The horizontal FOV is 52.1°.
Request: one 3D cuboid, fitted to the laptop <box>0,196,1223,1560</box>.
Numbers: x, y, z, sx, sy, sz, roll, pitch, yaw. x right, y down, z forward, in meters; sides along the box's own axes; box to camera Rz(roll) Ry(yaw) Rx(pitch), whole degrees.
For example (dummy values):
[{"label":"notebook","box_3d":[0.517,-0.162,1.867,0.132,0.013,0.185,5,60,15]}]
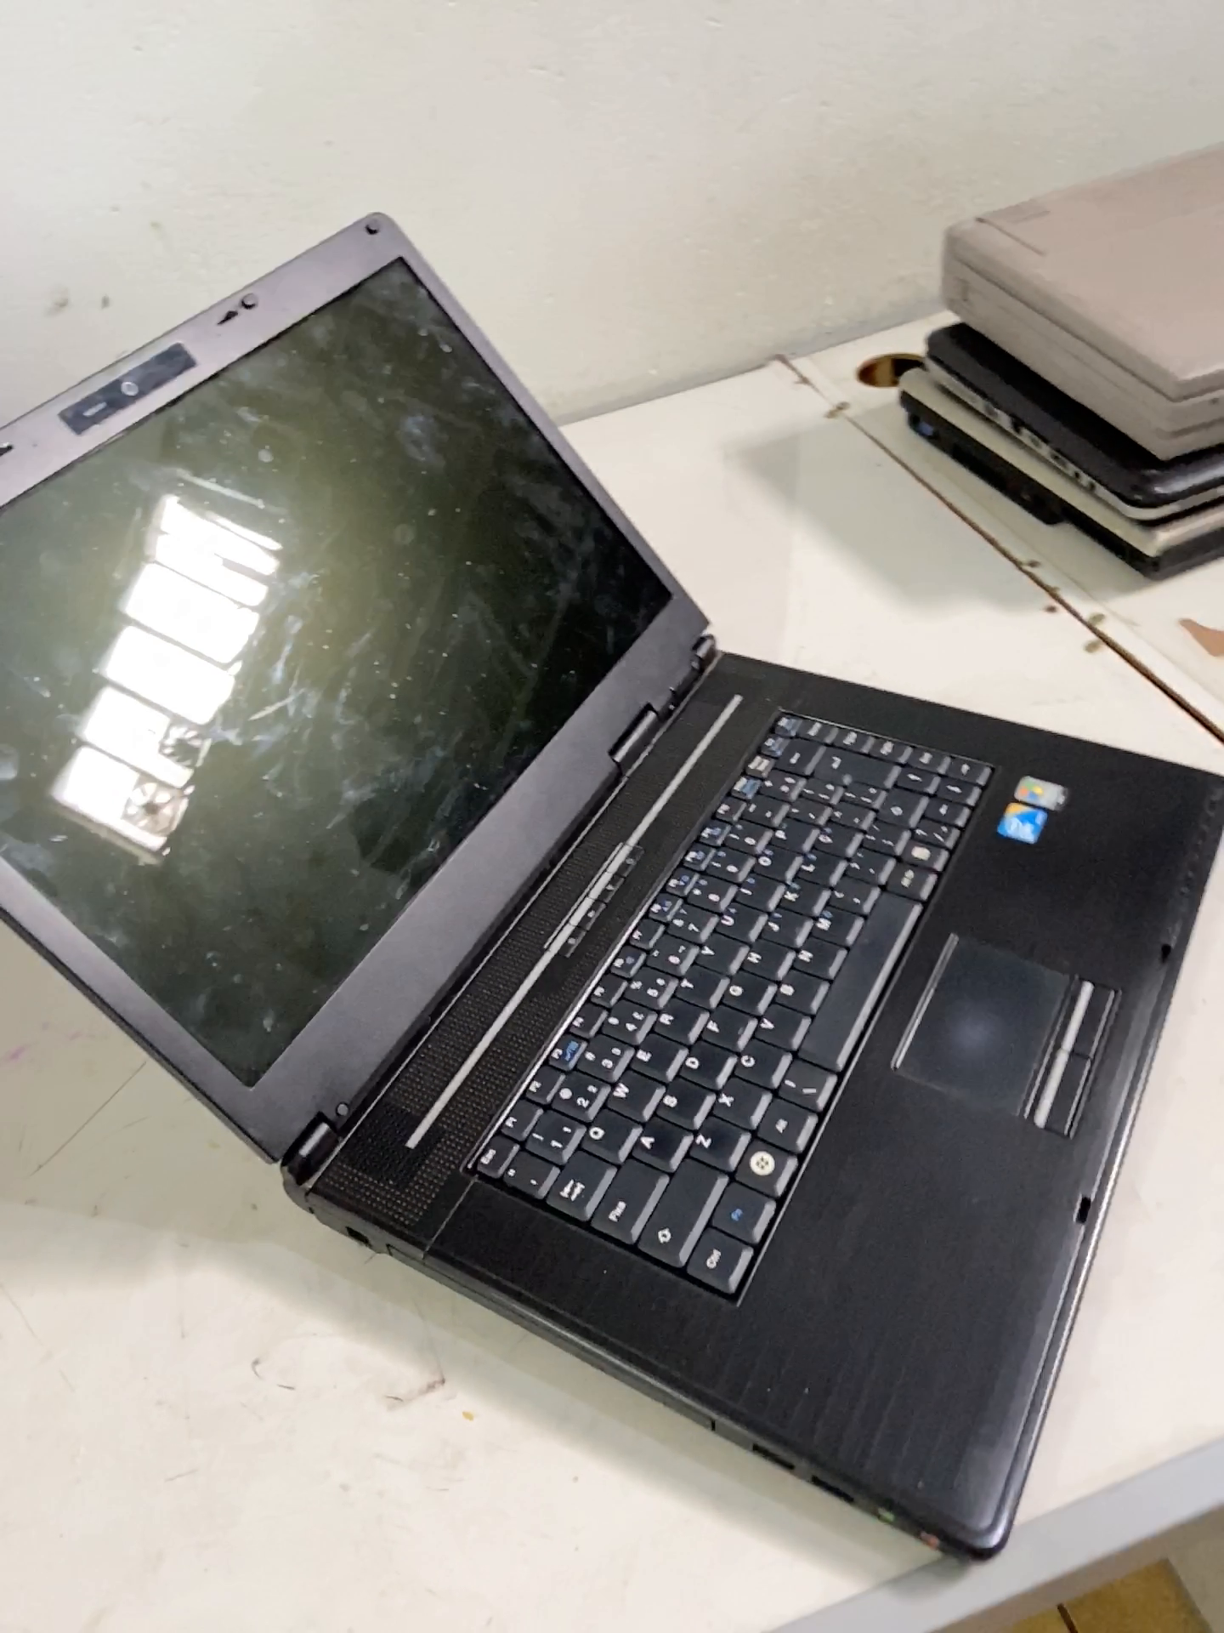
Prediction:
[{"label":"laptop","box_3d":[-0.007,-0.041,0.478,0.430,0.224,0.353,18,50,25]}]
